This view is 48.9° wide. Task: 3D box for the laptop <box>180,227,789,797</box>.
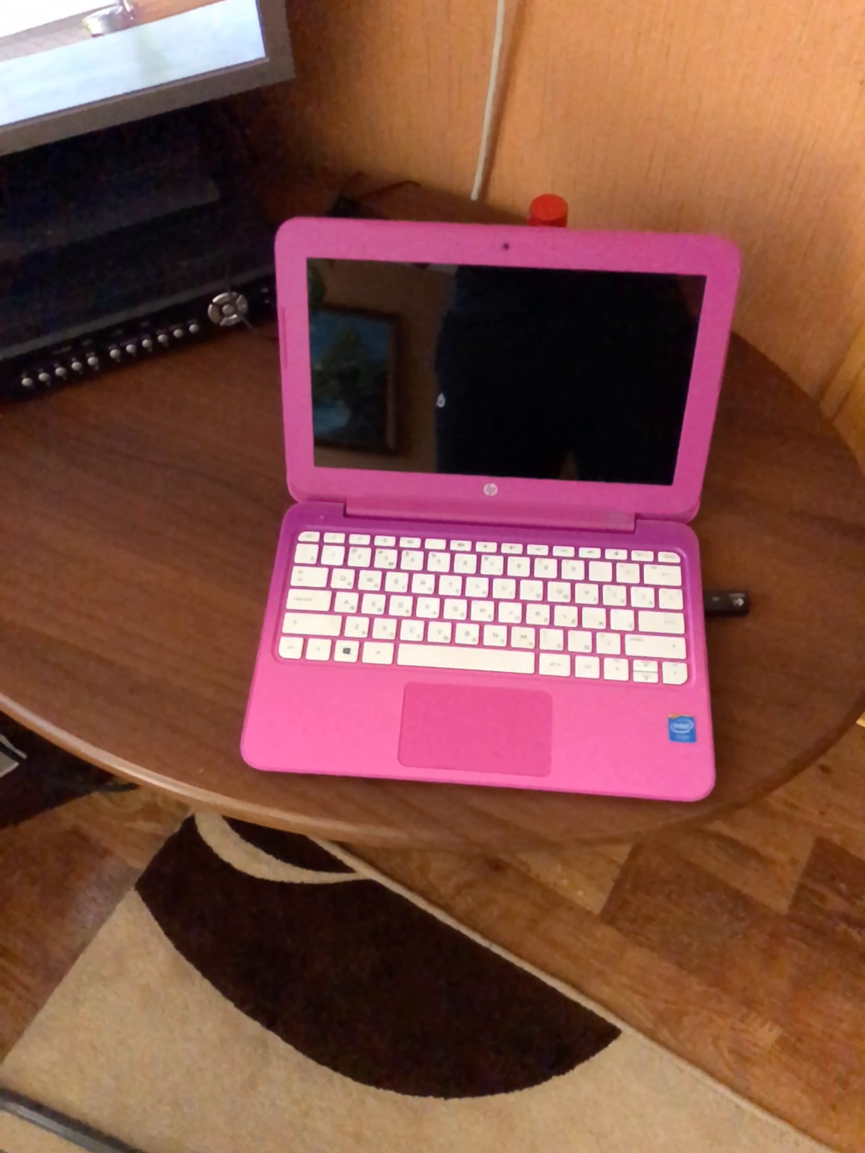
[{"bbox_3d":[0.034,-0.044,0.574,0.279,0.150,0.296,3,60,3],"label":"laptop"}]
